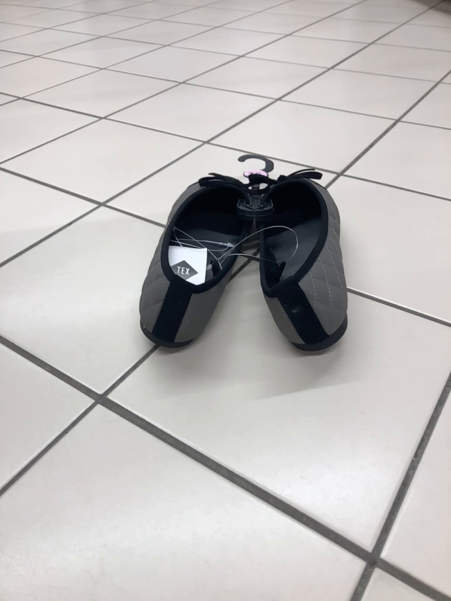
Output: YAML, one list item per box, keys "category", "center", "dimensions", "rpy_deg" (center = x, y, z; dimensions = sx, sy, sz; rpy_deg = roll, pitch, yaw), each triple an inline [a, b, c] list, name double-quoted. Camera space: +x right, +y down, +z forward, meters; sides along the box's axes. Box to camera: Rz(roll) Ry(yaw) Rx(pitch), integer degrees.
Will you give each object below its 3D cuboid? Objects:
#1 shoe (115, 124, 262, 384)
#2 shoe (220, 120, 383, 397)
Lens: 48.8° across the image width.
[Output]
- category: "shoe"
  center: [-0.020, -0.056, 0.418]
  dimensions: [0.078, 0.080, 0.243]
  rpy_deg: [13, 39, -4]
- category: "shoe"
  center: [0.054, -0.051, 0.403]
  dimensions: [0.078, 0.081, 0.243]
  rpy_deg: [-18, 36, 17]
